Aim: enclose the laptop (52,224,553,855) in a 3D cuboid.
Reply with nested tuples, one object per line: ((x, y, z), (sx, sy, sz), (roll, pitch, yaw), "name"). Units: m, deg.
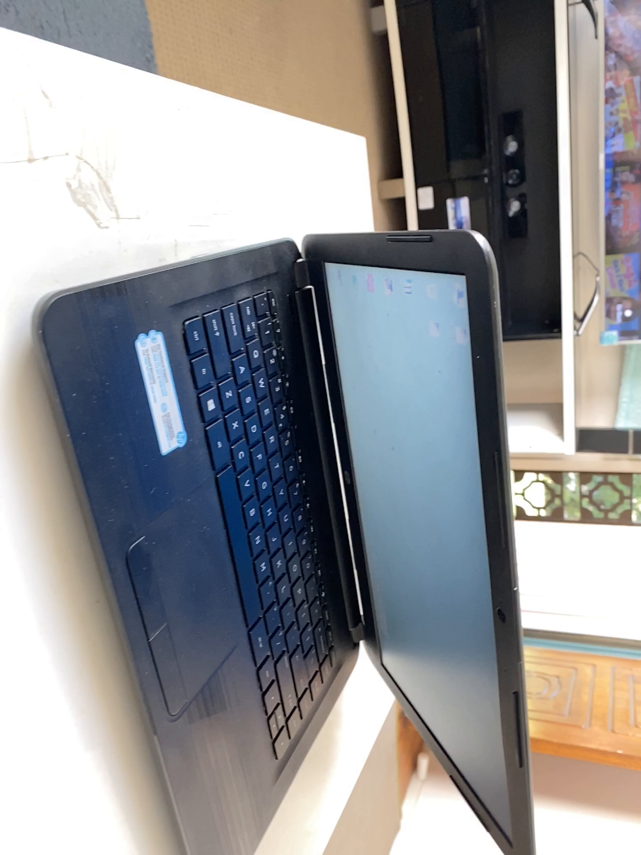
((0.032, 0.075, 0.378), (0.226, 0.154, 0.336), (-39, 124, -60), "laptop")
